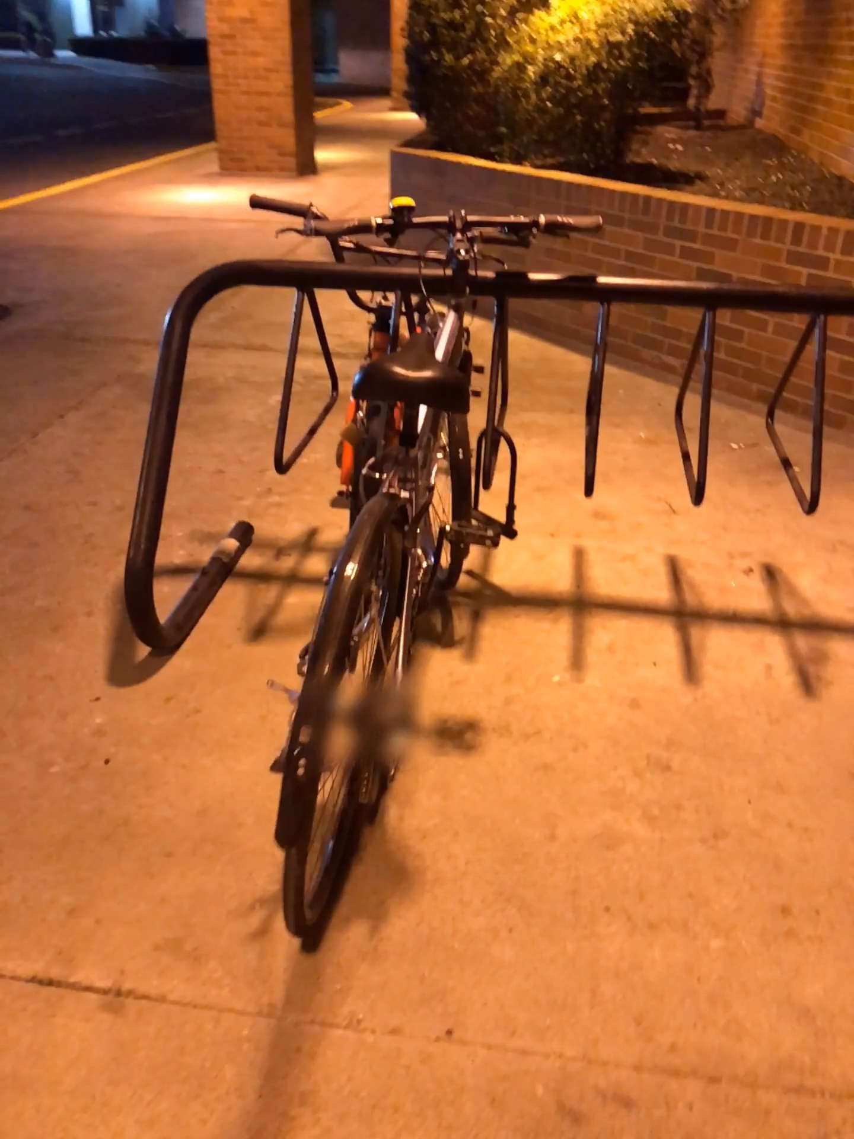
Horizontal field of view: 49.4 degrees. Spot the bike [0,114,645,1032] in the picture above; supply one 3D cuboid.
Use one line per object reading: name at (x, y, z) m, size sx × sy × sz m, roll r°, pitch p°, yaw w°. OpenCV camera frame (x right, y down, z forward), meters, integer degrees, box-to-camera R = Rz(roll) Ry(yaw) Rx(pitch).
bike at (-0.038, -0.242, 1.781) m, size 0.637 × 0.864 × 1.652 m, roll 4°, pitch 34°, yaw 5°
